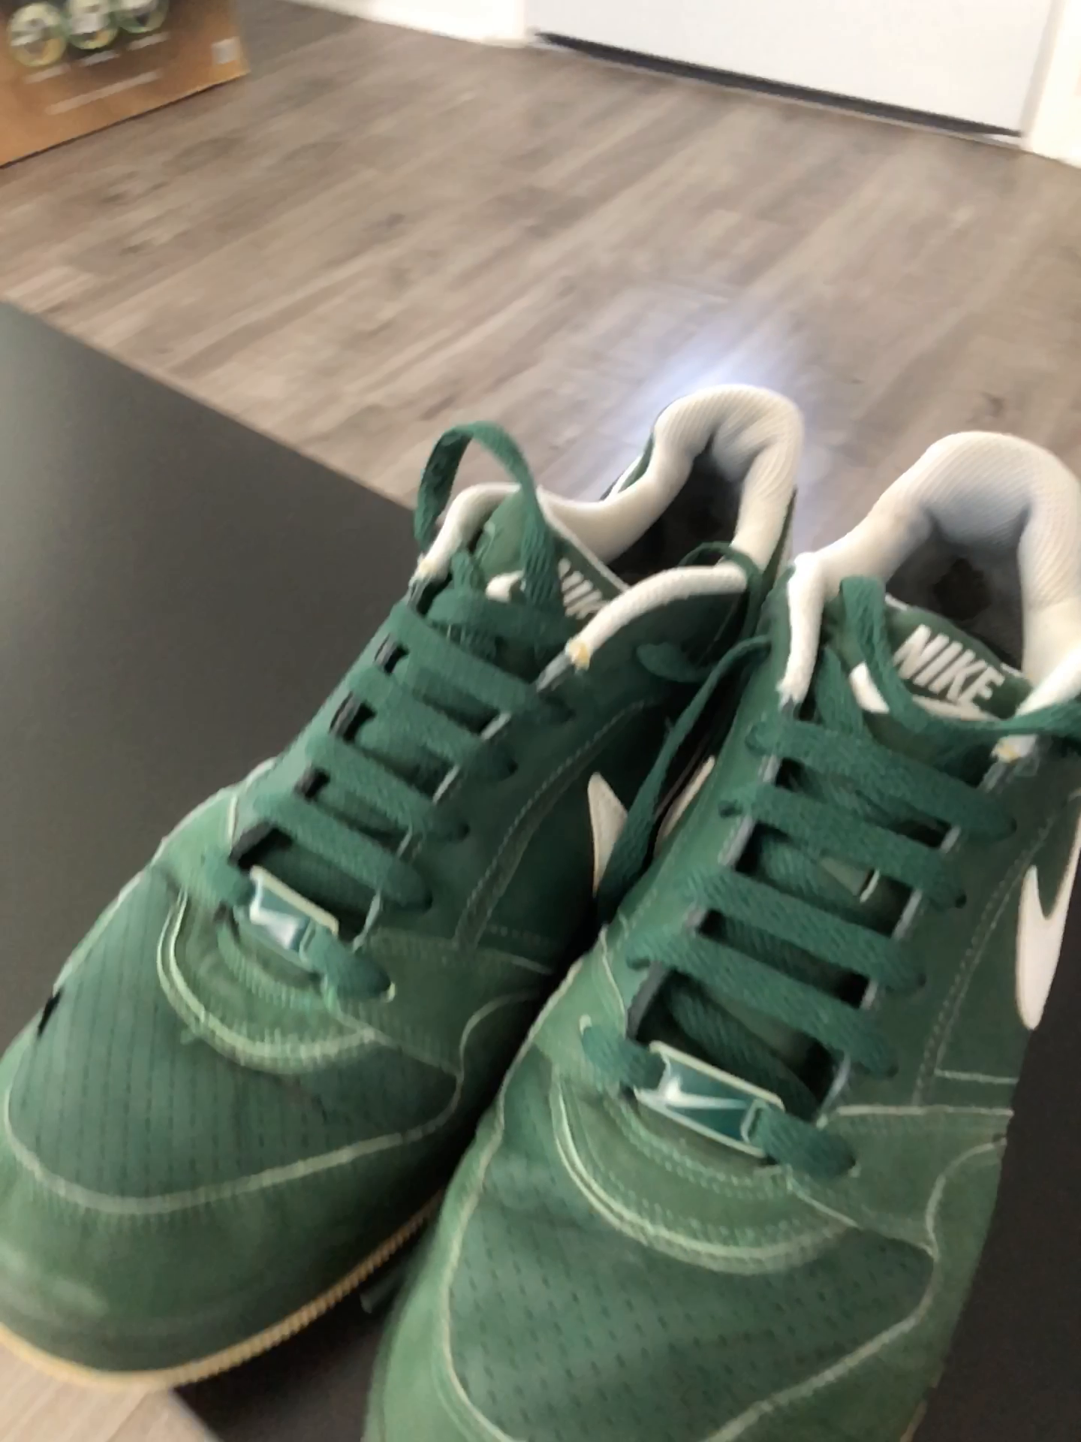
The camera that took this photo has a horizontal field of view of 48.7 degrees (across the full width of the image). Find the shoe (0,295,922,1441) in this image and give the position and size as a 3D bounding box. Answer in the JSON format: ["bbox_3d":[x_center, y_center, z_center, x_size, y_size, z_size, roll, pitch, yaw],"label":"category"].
[{"bbox_3d":[-0.028,0.017,0.294,0.100,0.100,0.292,29,55,25],"label":"shoe"}]

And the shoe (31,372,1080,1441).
[{"bbox_3d":[0.059,0.053,0.248,0.110,0.100,0.280,27,54,23],"label":"shoe"}]
